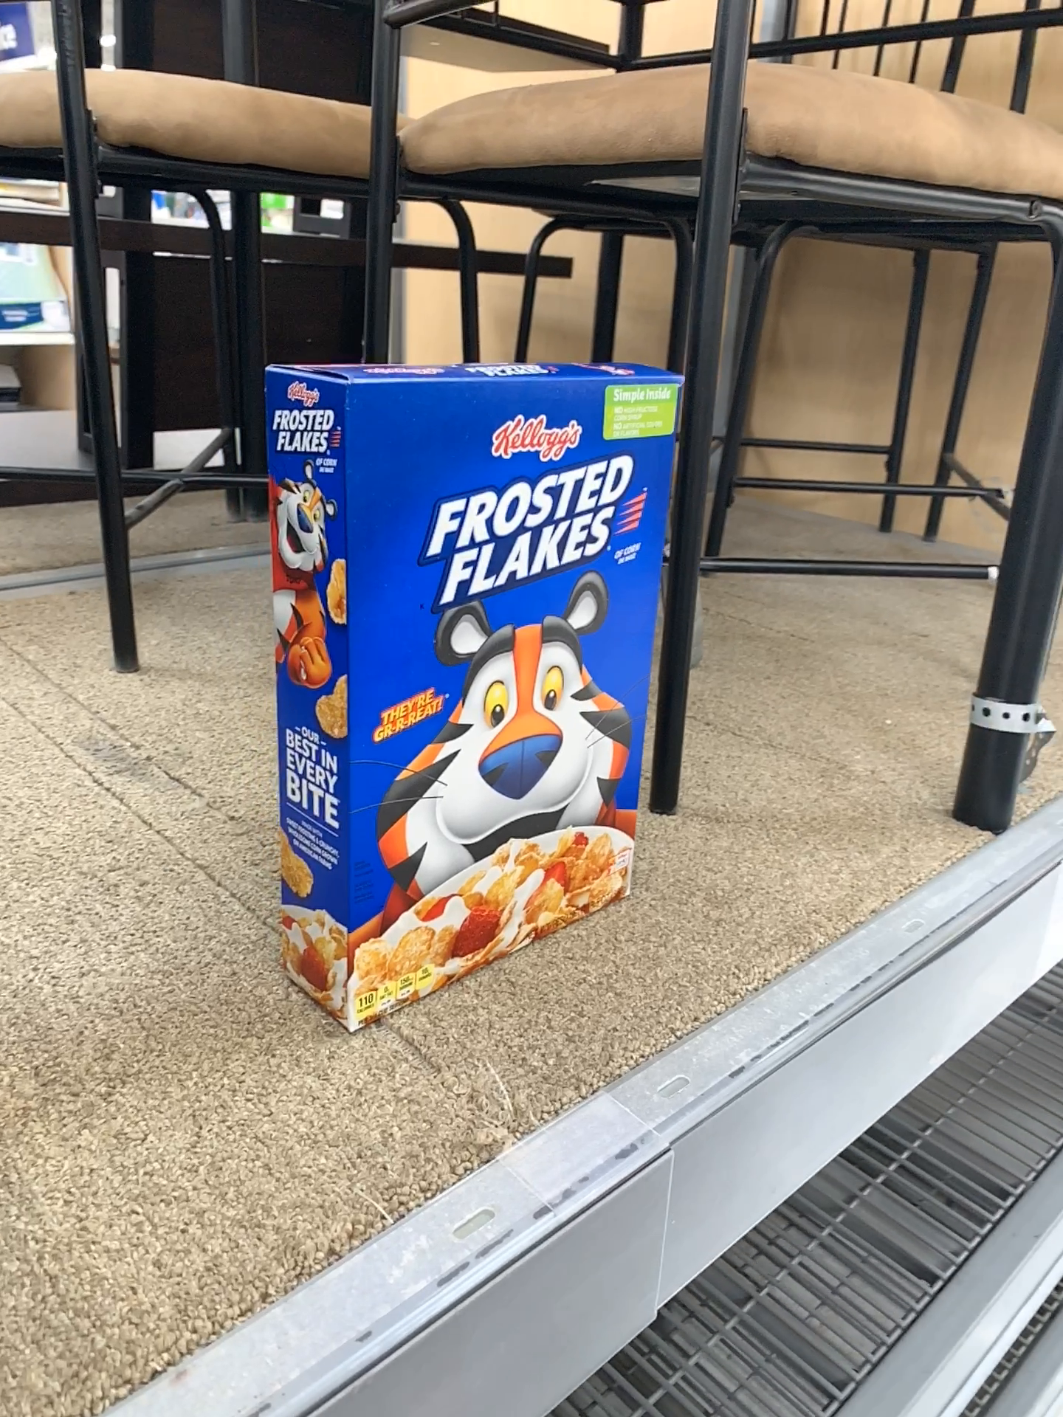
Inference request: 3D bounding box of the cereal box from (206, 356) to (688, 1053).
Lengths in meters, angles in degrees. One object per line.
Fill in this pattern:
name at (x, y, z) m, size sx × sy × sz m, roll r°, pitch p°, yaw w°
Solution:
cereal box at (-0.035, -0.015, 0.524) m, size 0.210 × 0.289 × 0.070 m, roll -16°, pitch 28°, yaw -41°
